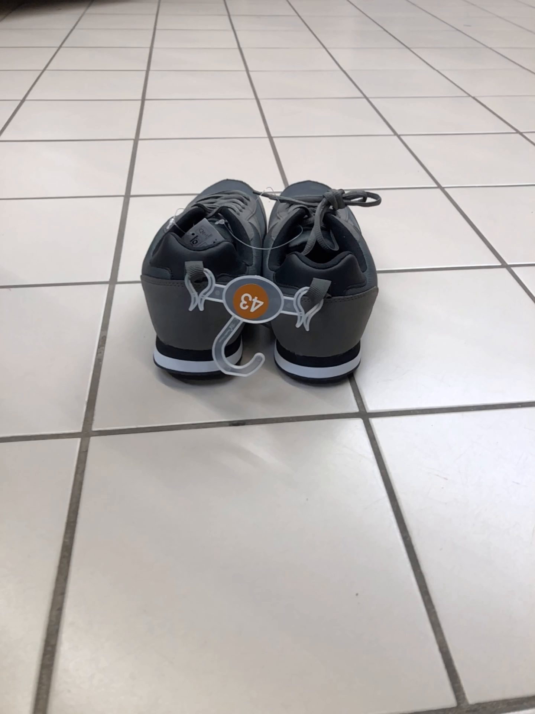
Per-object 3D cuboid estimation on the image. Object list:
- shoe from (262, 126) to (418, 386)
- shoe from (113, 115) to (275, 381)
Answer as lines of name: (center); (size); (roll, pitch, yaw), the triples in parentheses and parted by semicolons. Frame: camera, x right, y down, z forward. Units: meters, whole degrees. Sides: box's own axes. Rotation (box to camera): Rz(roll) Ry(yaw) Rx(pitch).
shoe: (0.046, -0.108, 0.527); (0.100, 0.099, 0.292); (1, 39, -1)
shoe: (-0.048, -0.113, 0.509); (0.100, 0.099, 0.292); (1, 39, -1)
